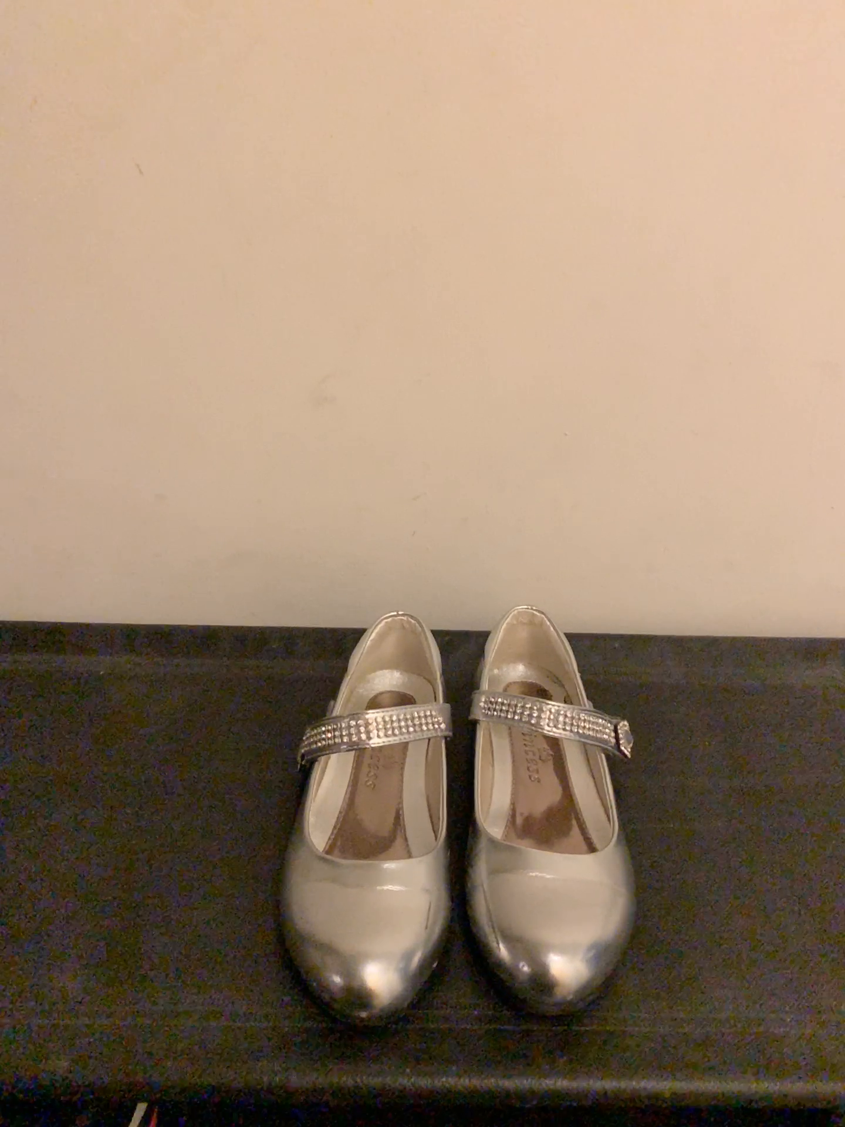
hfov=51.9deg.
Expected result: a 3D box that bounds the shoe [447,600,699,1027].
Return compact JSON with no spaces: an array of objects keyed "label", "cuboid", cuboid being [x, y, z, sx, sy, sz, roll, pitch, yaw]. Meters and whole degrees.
[{"label":"shoe","cuboid":[0.061,0.105,0.414,0.090,0.089,0.182,-1,30,4]}]

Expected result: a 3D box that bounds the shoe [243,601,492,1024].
[{"label":"shoe","cuboid":[-0.014,0.106,0.417,0.090,0.089,0.182,-1,30,4]}]
